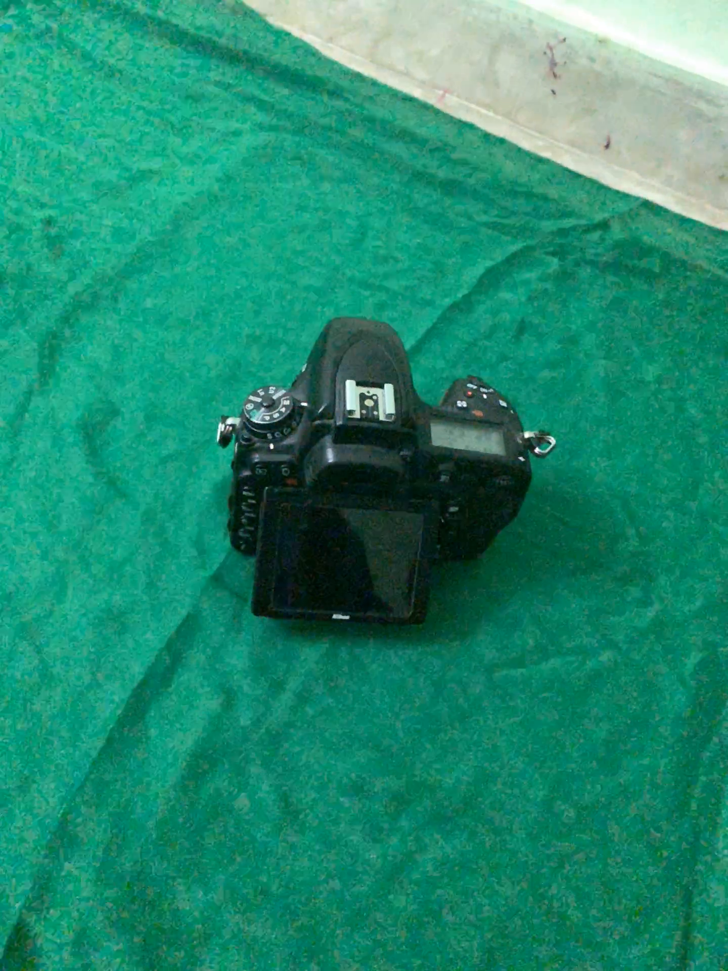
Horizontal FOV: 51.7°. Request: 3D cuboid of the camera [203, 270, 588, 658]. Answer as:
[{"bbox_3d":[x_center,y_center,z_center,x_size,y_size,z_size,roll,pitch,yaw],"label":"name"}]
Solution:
[{"bbox_3d":[0.008,-0.008,0.349,0.142,0.100,0.129,8,53,-6],"label":"camera"}]
